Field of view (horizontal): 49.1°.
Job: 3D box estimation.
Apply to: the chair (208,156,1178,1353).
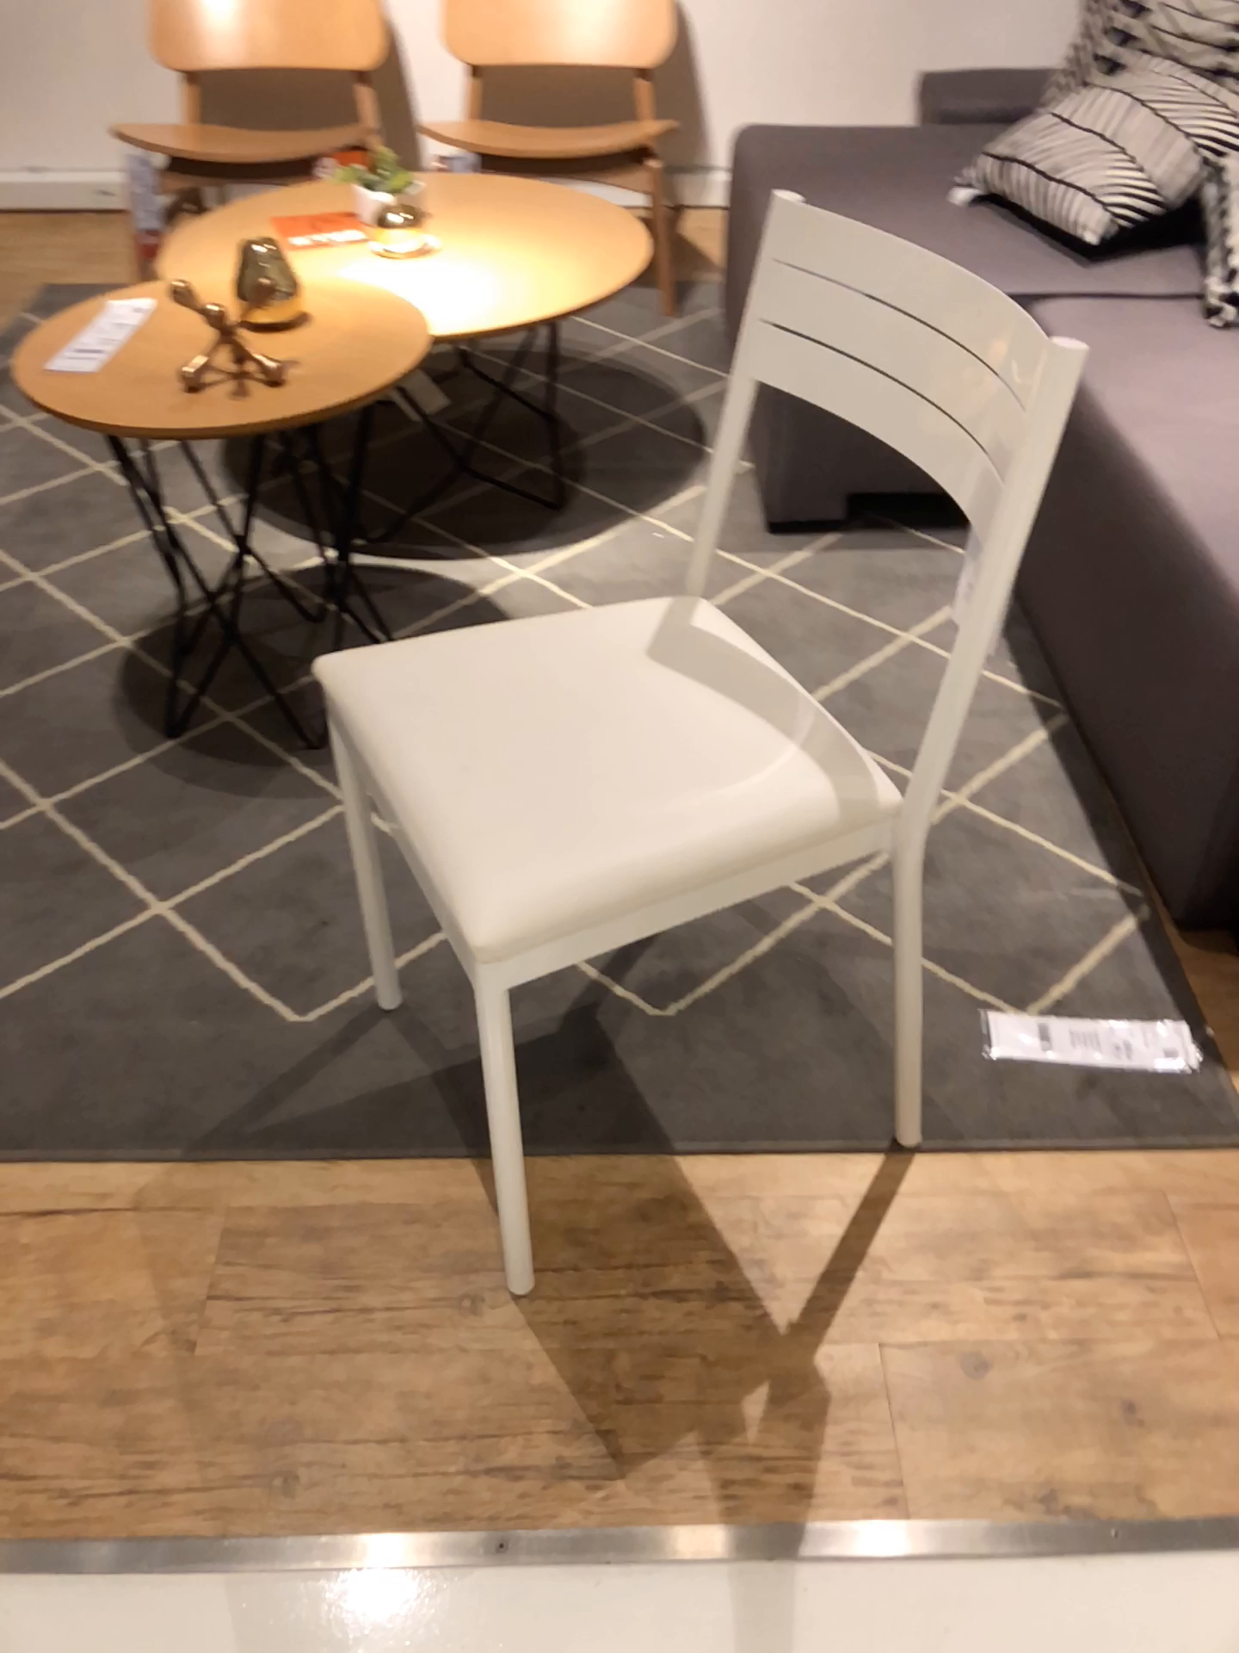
[{"bbox_3d":[0.021,-0.054,1.125,0.471,0.774,0.453,-17,43,-19],"label":"chair"}]
